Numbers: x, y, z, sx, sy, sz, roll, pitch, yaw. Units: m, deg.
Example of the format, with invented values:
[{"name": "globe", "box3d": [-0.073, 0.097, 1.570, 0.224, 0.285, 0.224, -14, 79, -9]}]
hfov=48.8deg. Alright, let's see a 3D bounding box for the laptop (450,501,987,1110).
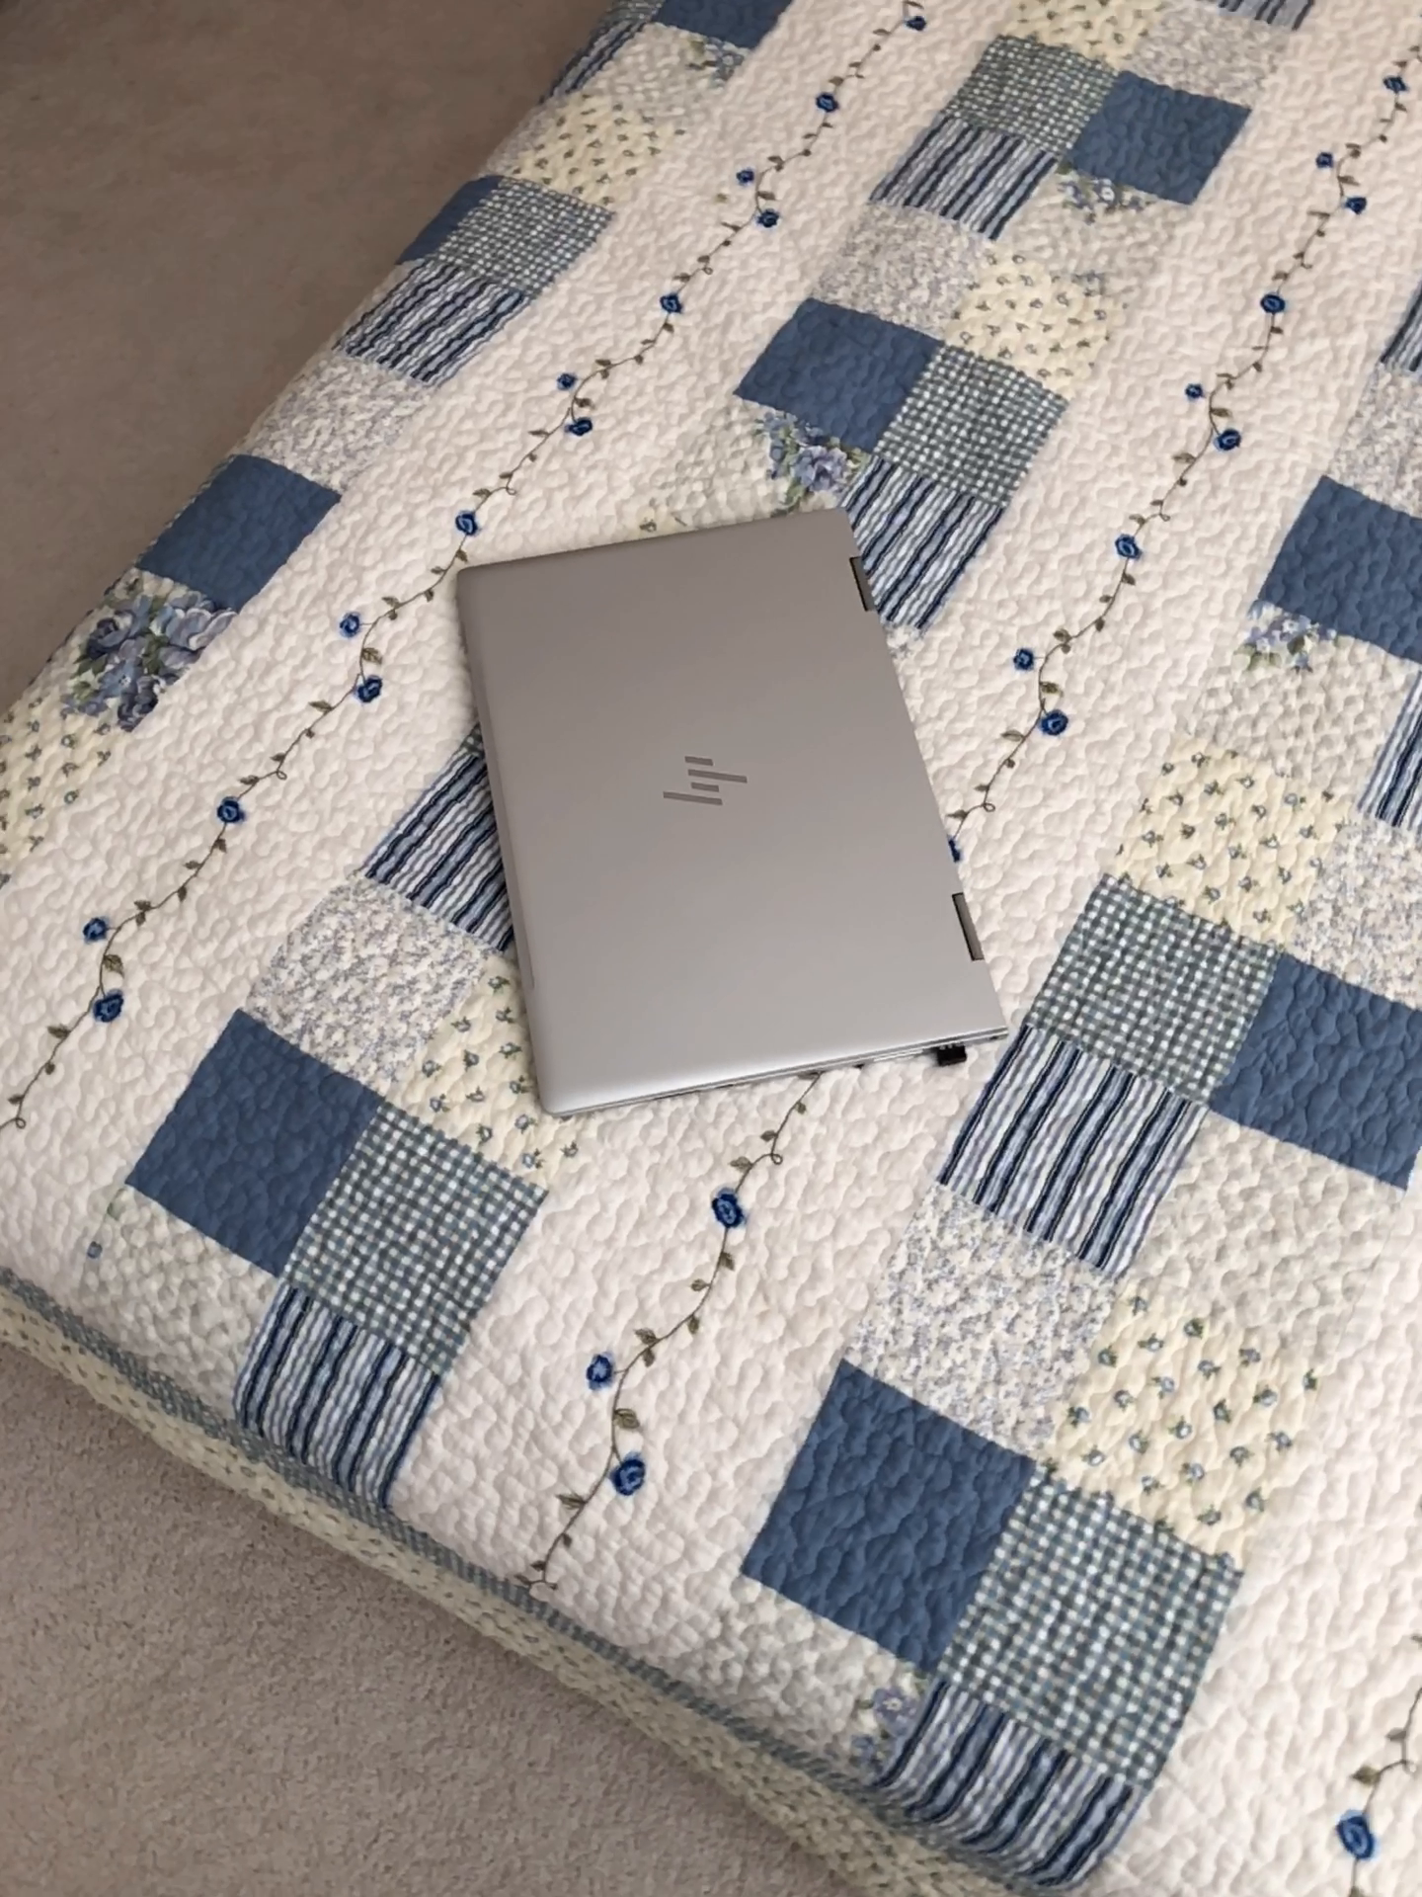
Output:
[{"name": "laptop", "box3d": [-0.008, -0.106, 0.960, 0.256, 0.011, 0.386, -10, 63, -6]}]
